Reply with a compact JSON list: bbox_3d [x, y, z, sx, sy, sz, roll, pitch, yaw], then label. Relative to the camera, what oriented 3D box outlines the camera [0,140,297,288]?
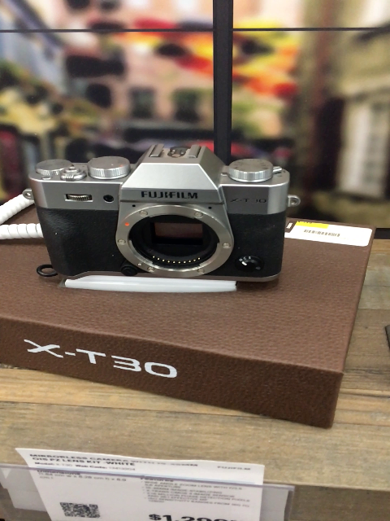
[{"bbox_3d":[-0.020,-0.028,0.279,0.142,0.057,0.067,2,36,6],"label":"camera"}]
